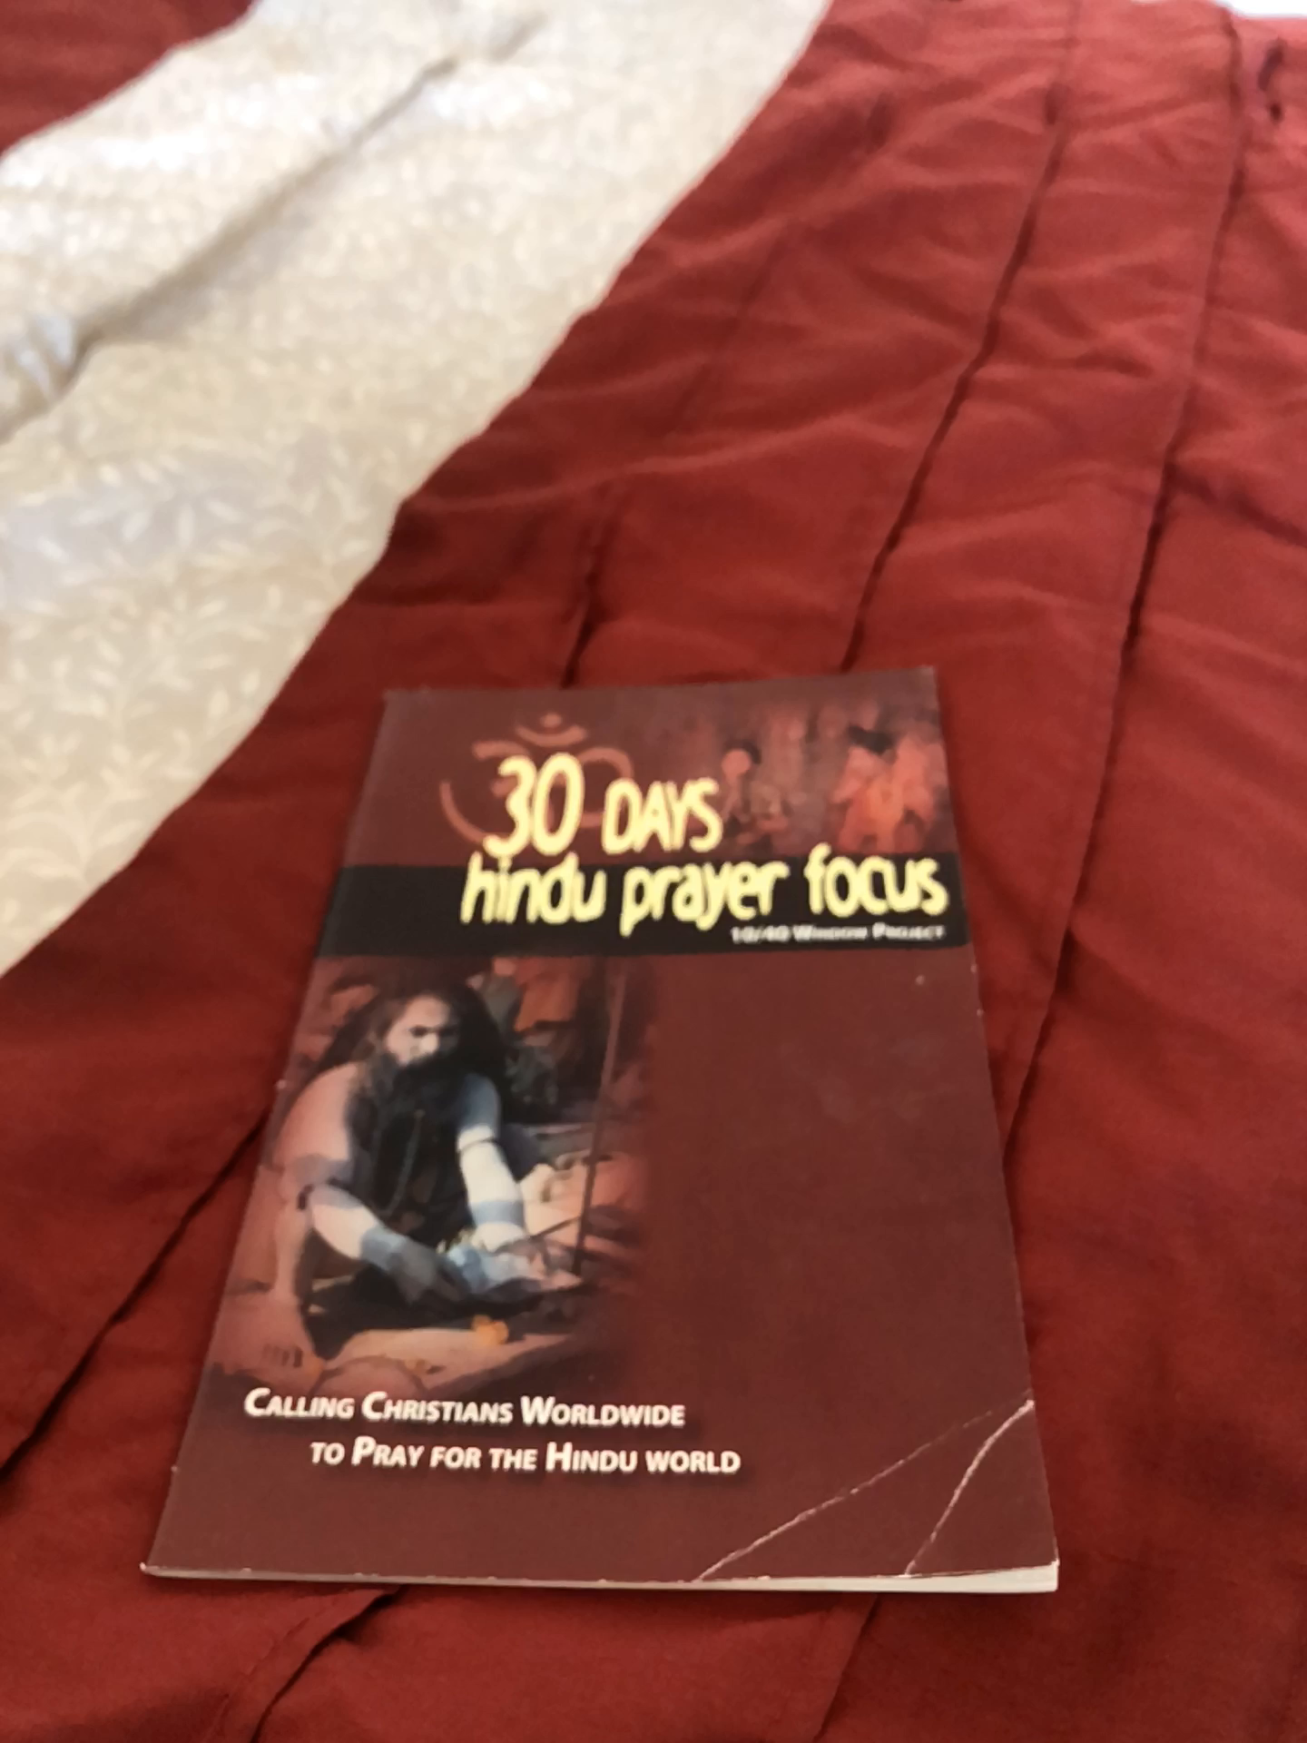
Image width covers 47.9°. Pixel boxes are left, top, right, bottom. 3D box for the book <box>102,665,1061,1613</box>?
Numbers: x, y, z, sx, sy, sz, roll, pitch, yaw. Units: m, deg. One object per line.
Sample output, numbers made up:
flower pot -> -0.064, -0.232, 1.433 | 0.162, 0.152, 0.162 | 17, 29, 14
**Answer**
book -> -0.007, 0.030, 0.292 | 0.141, 0.010, 0.211 | 0, 47, 4
